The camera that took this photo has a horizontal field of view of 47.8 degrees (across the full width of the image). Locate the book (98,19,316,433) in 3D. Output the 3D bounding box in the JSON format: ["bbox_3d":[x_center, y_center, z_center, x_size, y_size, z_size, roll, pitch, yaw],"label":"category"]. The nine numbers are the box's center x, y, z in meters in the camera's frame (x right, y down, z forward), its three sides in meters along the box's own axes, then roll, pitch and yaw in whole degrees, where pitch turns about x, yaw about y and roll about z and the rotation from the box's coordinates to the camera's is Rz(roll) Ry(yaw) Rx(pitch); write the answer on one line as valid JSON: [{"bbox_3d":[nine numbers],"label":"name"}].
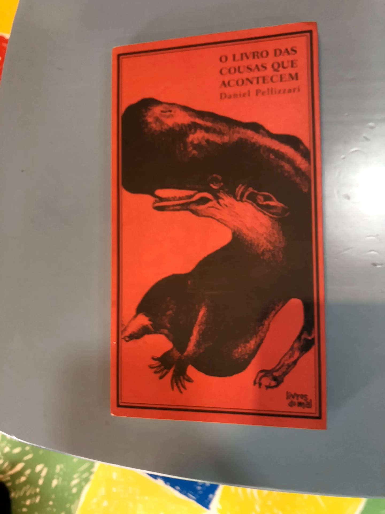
[{"bbox_3d":[0.005,-0.016,0.229,0.110,0.016,0.200,-1,87,13],"label":"book"}]
